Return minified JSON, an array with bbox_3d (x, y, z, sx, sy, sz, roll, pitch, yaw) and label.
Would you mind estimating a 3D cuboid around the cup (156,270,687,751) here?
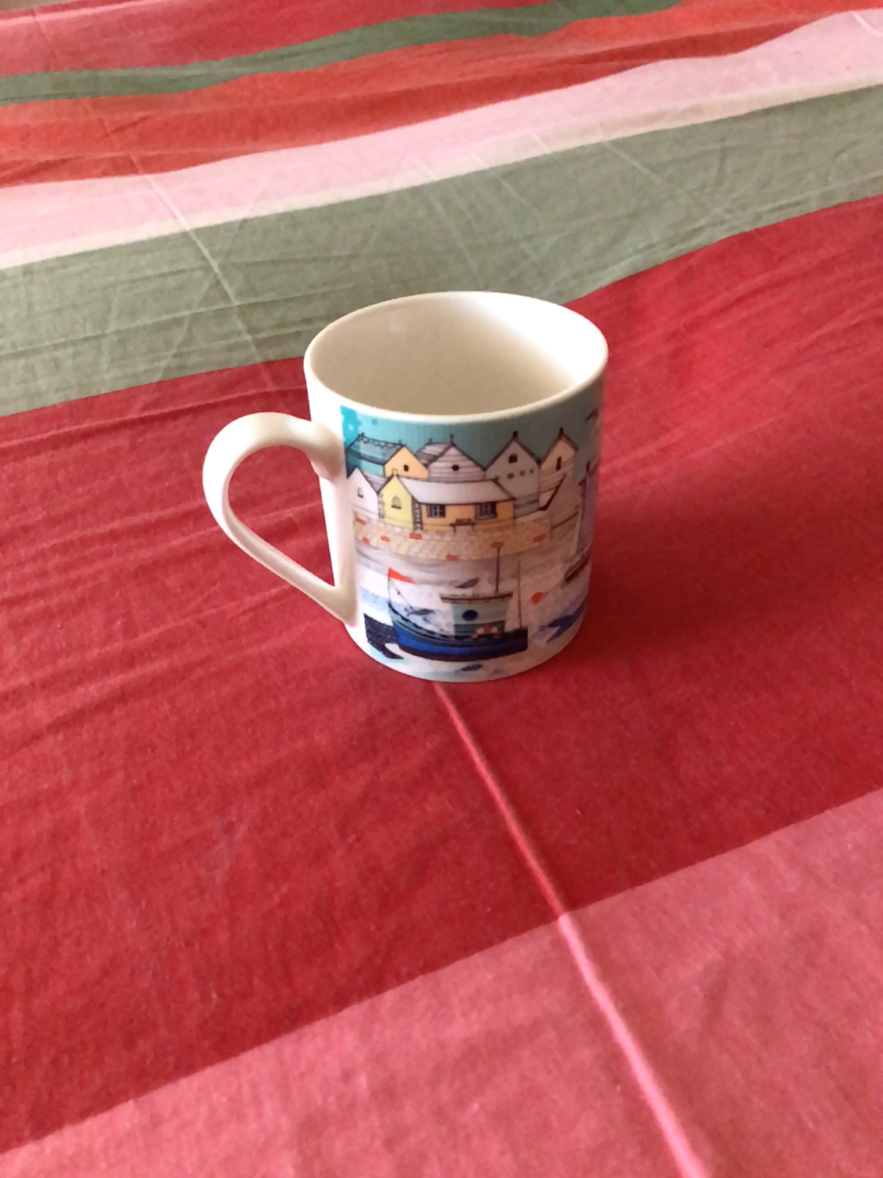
[{"bbox_3d":[-0.009,-0.029,0.289,0.120,0.080,0.094,-15,39,-14],"label":"cup"}]
